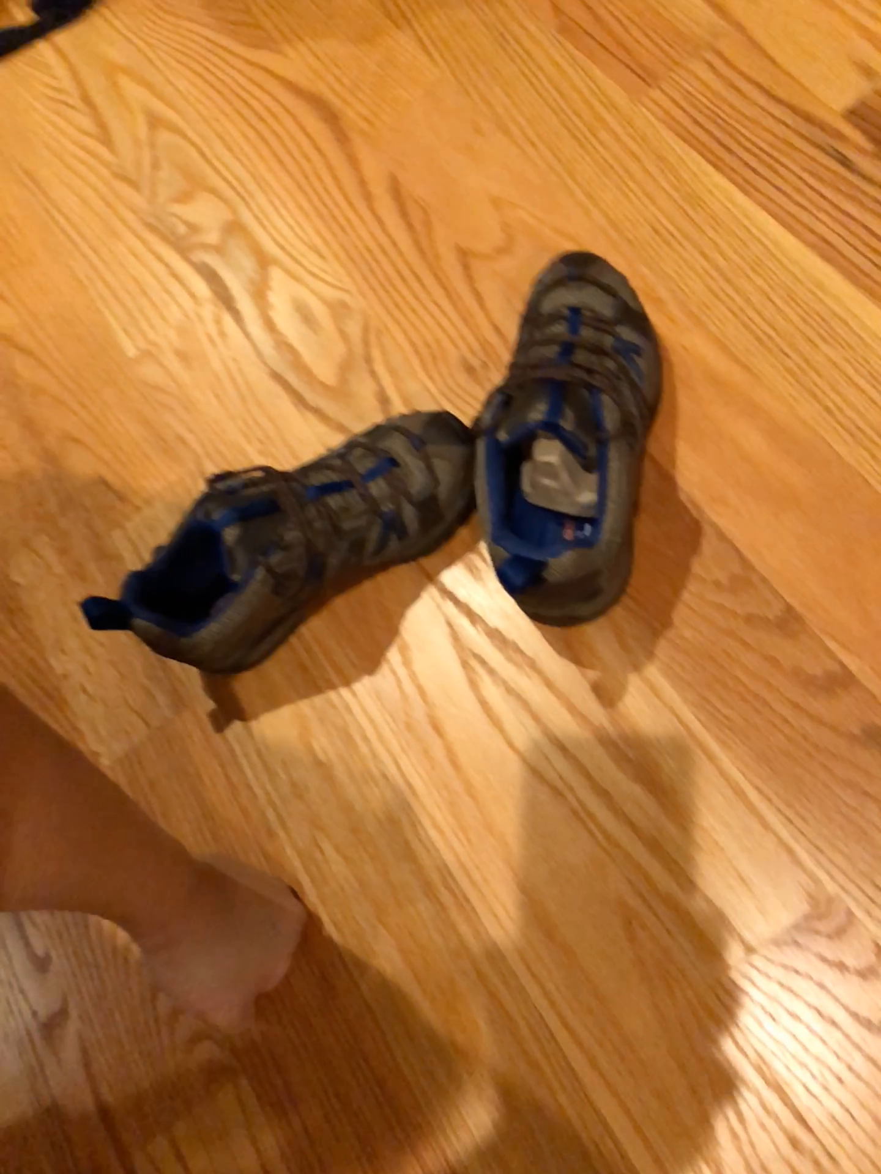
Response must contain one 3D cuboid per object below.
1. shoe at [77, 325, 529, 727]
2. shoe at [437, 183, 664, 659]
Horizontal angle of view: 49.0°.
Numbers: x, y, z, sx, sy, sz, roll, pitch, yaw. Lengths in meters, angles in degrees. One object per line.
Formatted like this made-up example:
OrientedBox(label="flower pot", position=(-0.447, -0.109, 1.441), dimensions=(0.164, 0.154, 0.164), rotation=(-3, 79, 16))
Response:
OrientedBox(label="shoe", position=(-0.080, -0.031, 0.598), dimensions=(0.240, 0.106, 0.095), rotation=(-36, 65, 2))
OrientedBox(label="shoe", position=(0.072, -0.094, 0.562), dimensions=(0.097, 0.094, 0.252), rotation=(1, 72, 17))
